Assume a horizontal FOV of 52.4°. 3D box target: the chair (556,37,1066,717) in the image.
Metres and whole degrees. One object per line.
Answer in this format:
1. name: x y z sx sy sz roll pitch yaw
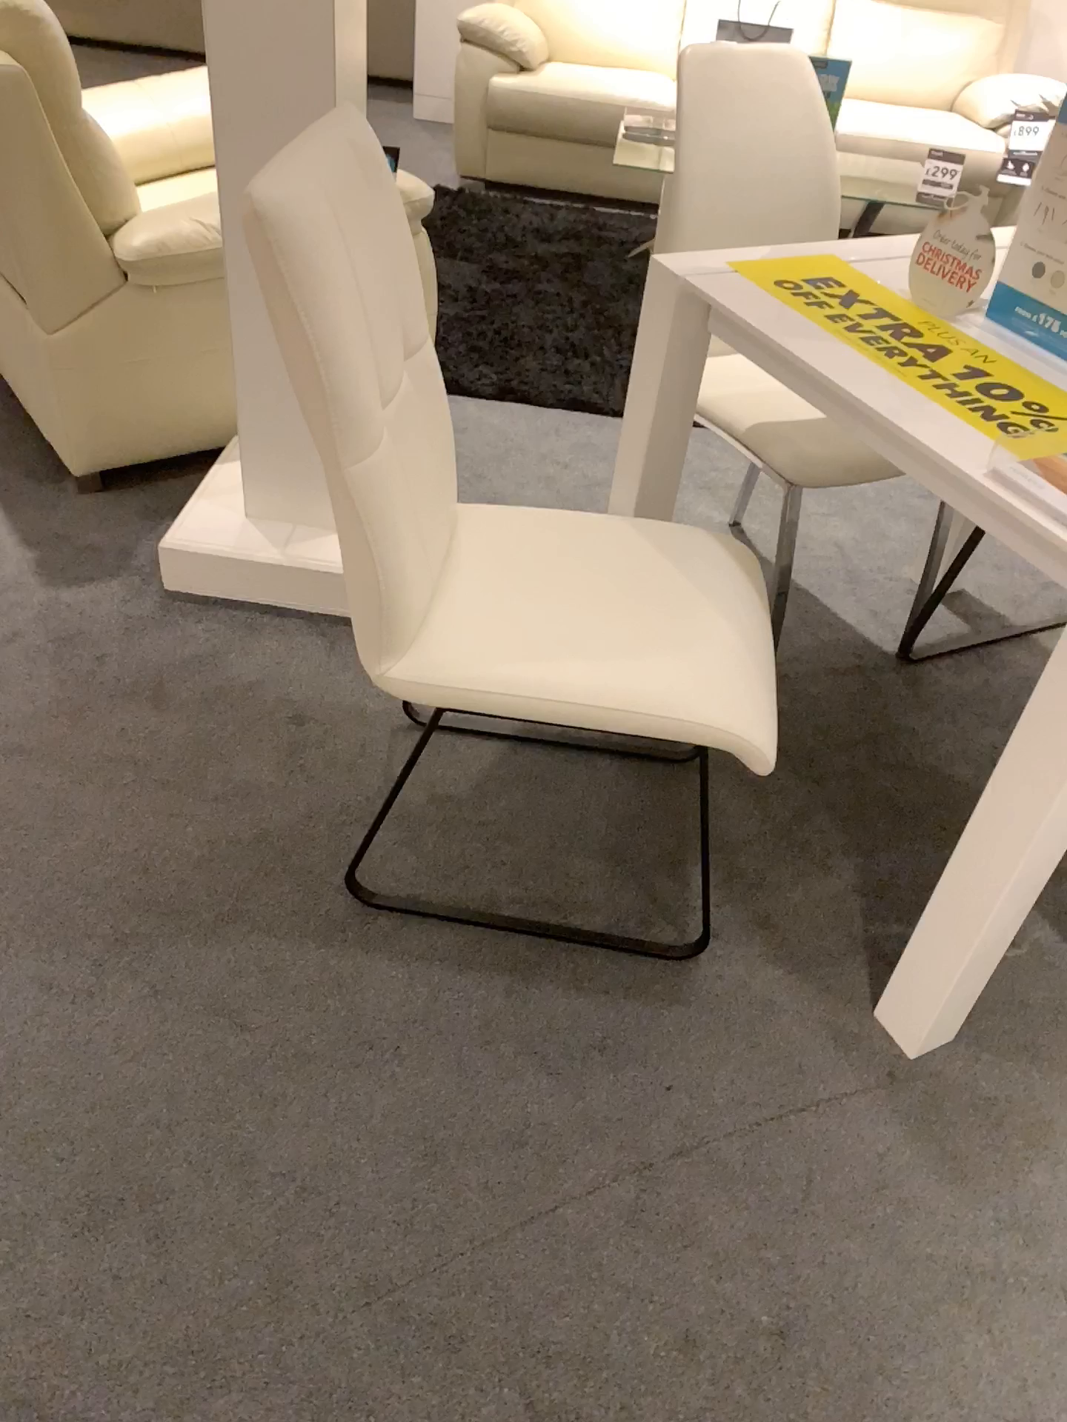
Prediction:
1. chair: 0.480 -0.595 1.910 0.522 0.901 0.645 -18 47 -27

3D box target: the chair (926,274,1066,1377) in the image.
1. chair: 0.966 0.111 1.137 0.551 0.881 0.605 -12 44 -21

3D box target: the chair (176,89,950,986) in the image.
1. chair: 0.005 -0.187 1.366 0.630 0.881 0.546 8 40 1
